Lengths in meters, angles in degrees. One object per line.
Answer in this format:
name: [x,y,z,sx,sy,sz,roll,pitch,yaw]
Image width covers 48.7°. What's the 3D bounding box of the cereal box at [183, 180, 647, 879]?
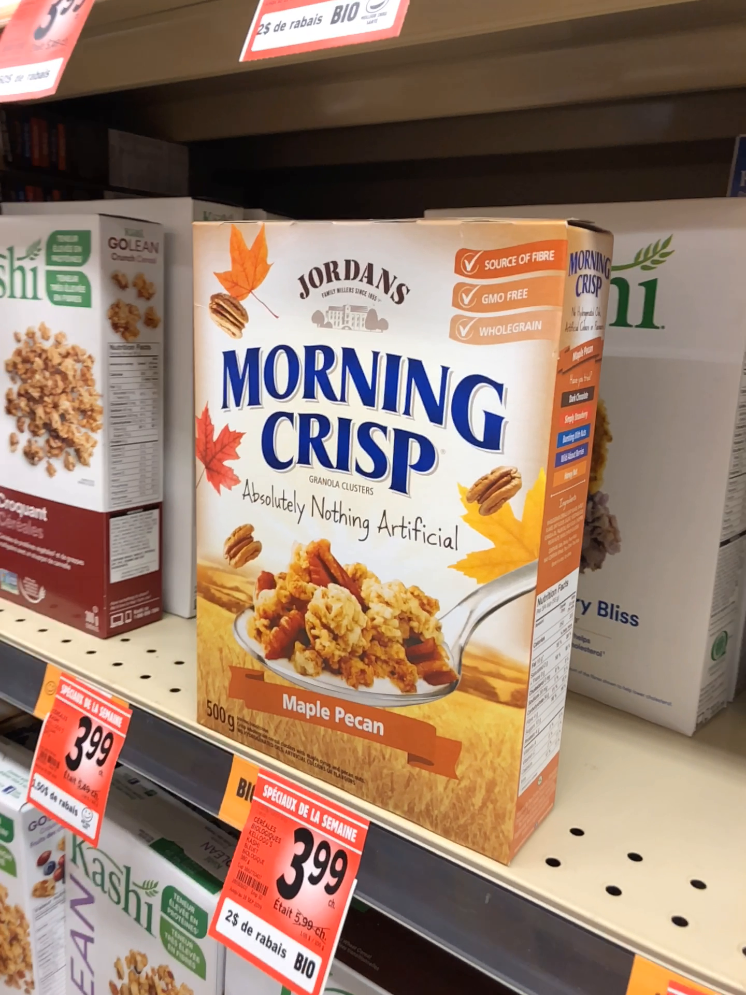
cereal box: [0.002,0.002,0.365,0.190,0.259,0.050,13,17,33]
